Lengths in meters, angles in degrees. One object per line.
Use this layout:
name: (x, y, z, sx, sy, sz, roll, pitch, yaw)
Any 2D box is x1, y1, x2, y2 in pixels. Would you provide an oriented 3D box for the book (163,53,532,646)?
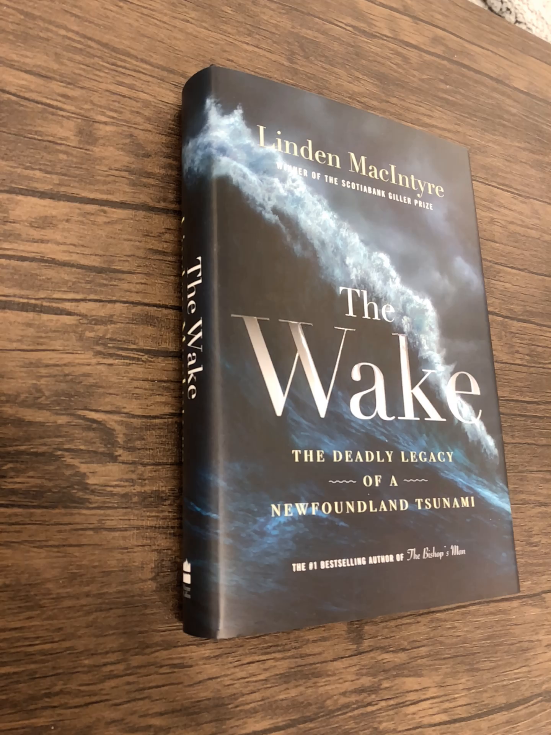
book: (0.034, -0.007, 0.290, 0.160, 0.050, 0.230, 6, 75, -29)
